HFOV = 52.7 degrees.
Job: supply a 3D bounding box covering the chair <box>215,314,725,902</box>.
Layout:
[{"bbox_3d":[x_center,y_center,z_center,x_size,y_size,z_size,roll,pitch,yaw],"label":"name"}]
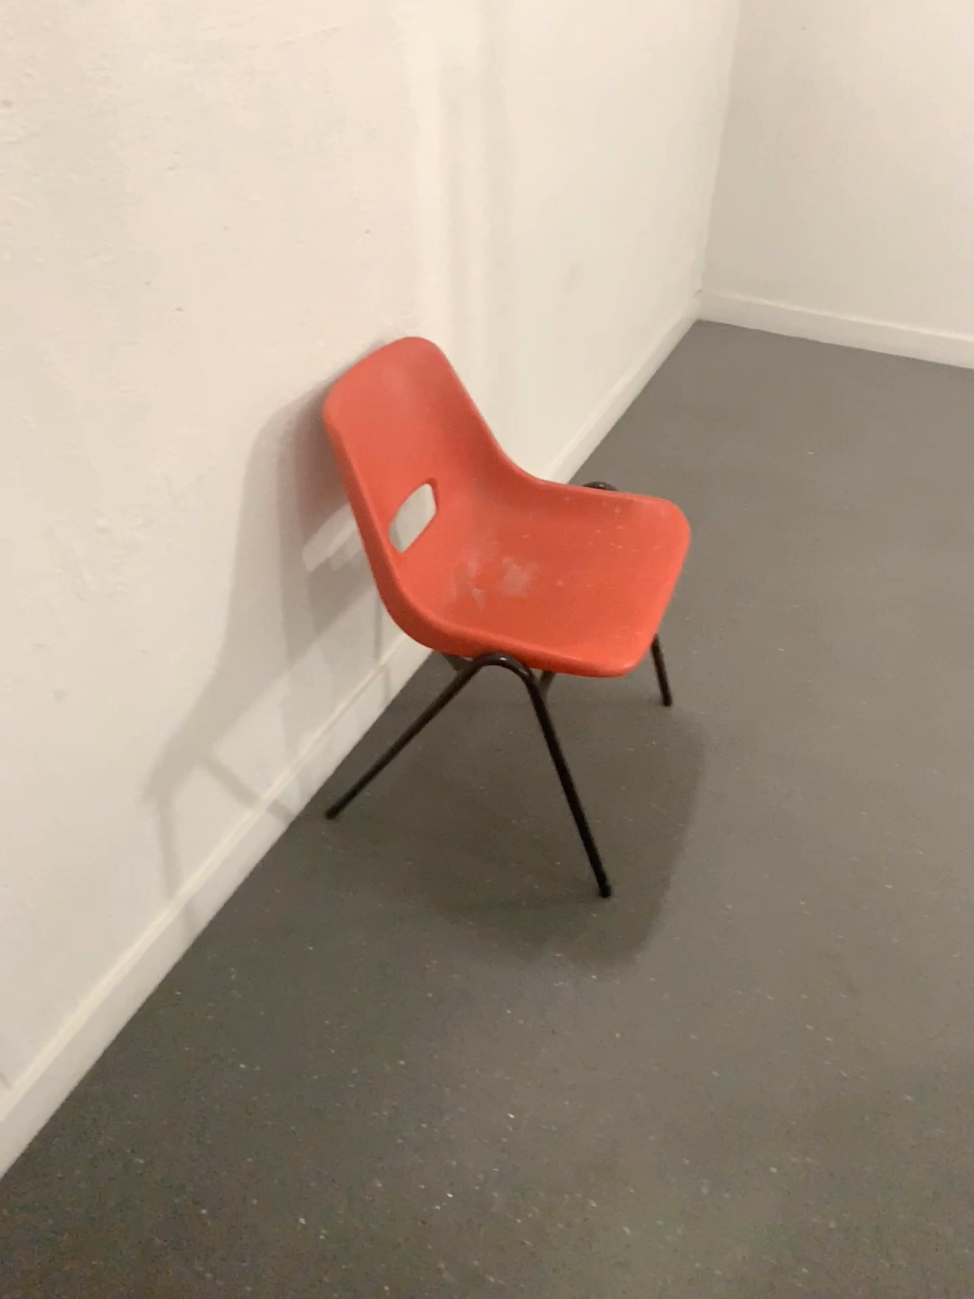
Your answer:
[{"bbox_3d":[0.006,-0.080,1.651,0.591,0.713,0.514,13,43,16],"label":"chair"}]
